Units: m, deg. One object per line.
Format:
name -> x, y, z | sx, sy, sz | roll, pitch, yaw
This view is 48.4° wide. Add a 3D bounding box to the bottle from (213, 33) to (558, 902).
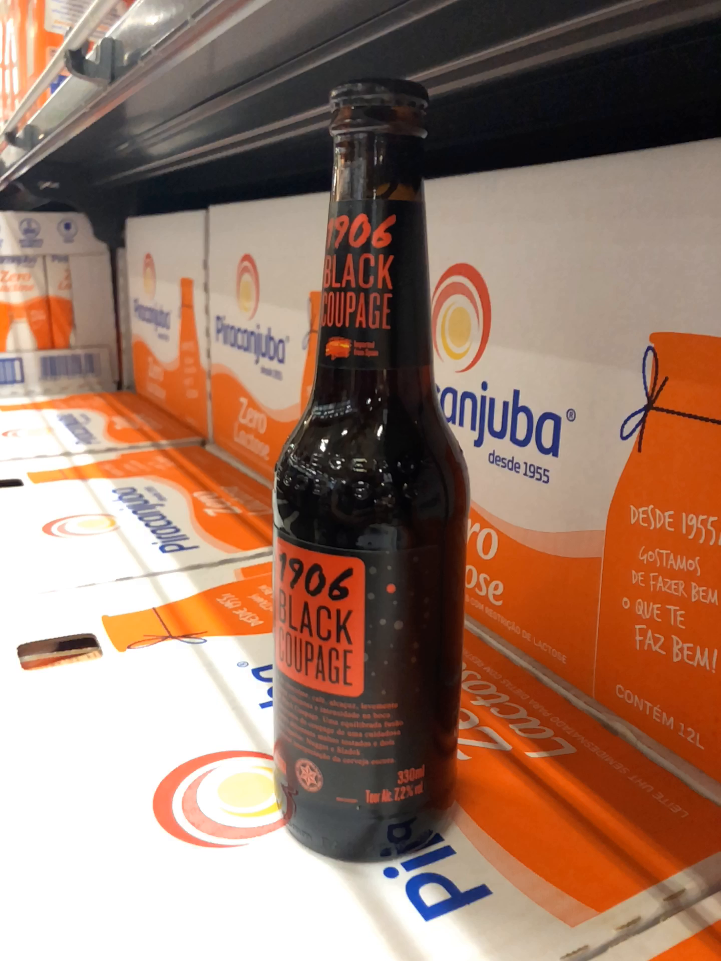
bottle -> 0.006, 0.000, 0.239 | 0.070, 0.219, 0.060 | 10, 17, 31
